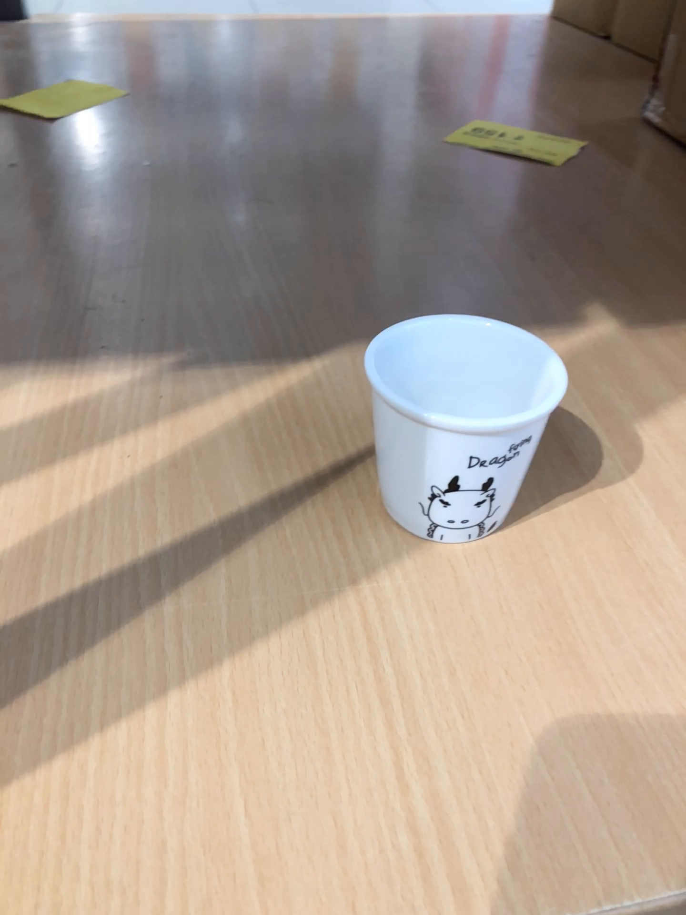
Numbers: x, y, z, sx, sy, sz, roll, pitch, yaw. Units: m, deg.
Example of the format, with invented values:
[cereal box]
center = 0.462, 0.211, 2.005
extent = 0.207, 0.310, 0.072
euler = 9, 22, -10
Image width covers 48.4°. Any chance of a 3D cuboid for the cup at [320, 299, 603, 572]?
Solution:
[cup]
center = 0.036, -0.011, 0.286
extent = 0.080, 0.060, 0.080
euler = 1, 39, -1
